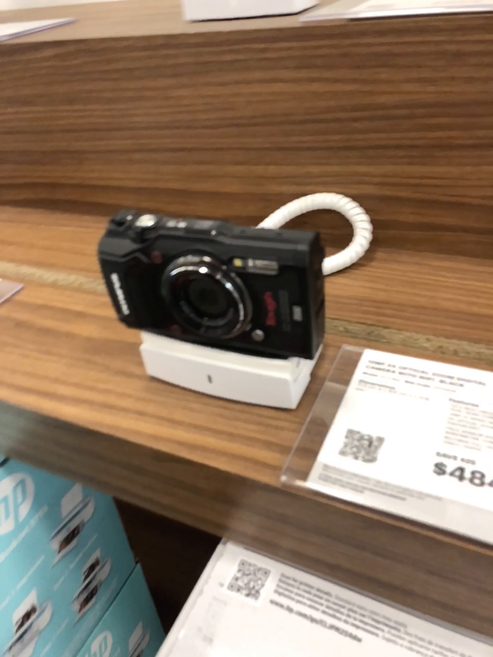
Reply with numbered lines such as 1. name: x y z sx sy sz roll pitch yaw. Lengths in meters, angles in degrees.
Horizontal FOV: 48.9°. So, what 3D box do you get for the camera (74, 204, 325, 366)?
1. camera: -0.023 -0.025 0.275 0.120 0.060 0.030 10 38 24
